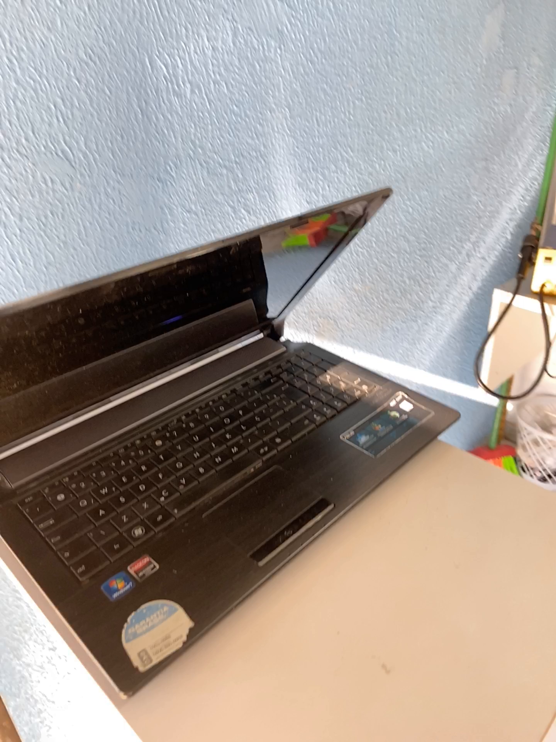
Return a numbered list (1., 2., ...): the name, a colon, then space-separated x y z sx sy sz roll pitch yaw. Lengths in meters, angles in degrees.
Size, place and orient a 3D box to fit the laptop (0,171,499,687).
1. laptop: -0.037 -0.019 0.486 0.255 0.208 0.388 24 38 39
